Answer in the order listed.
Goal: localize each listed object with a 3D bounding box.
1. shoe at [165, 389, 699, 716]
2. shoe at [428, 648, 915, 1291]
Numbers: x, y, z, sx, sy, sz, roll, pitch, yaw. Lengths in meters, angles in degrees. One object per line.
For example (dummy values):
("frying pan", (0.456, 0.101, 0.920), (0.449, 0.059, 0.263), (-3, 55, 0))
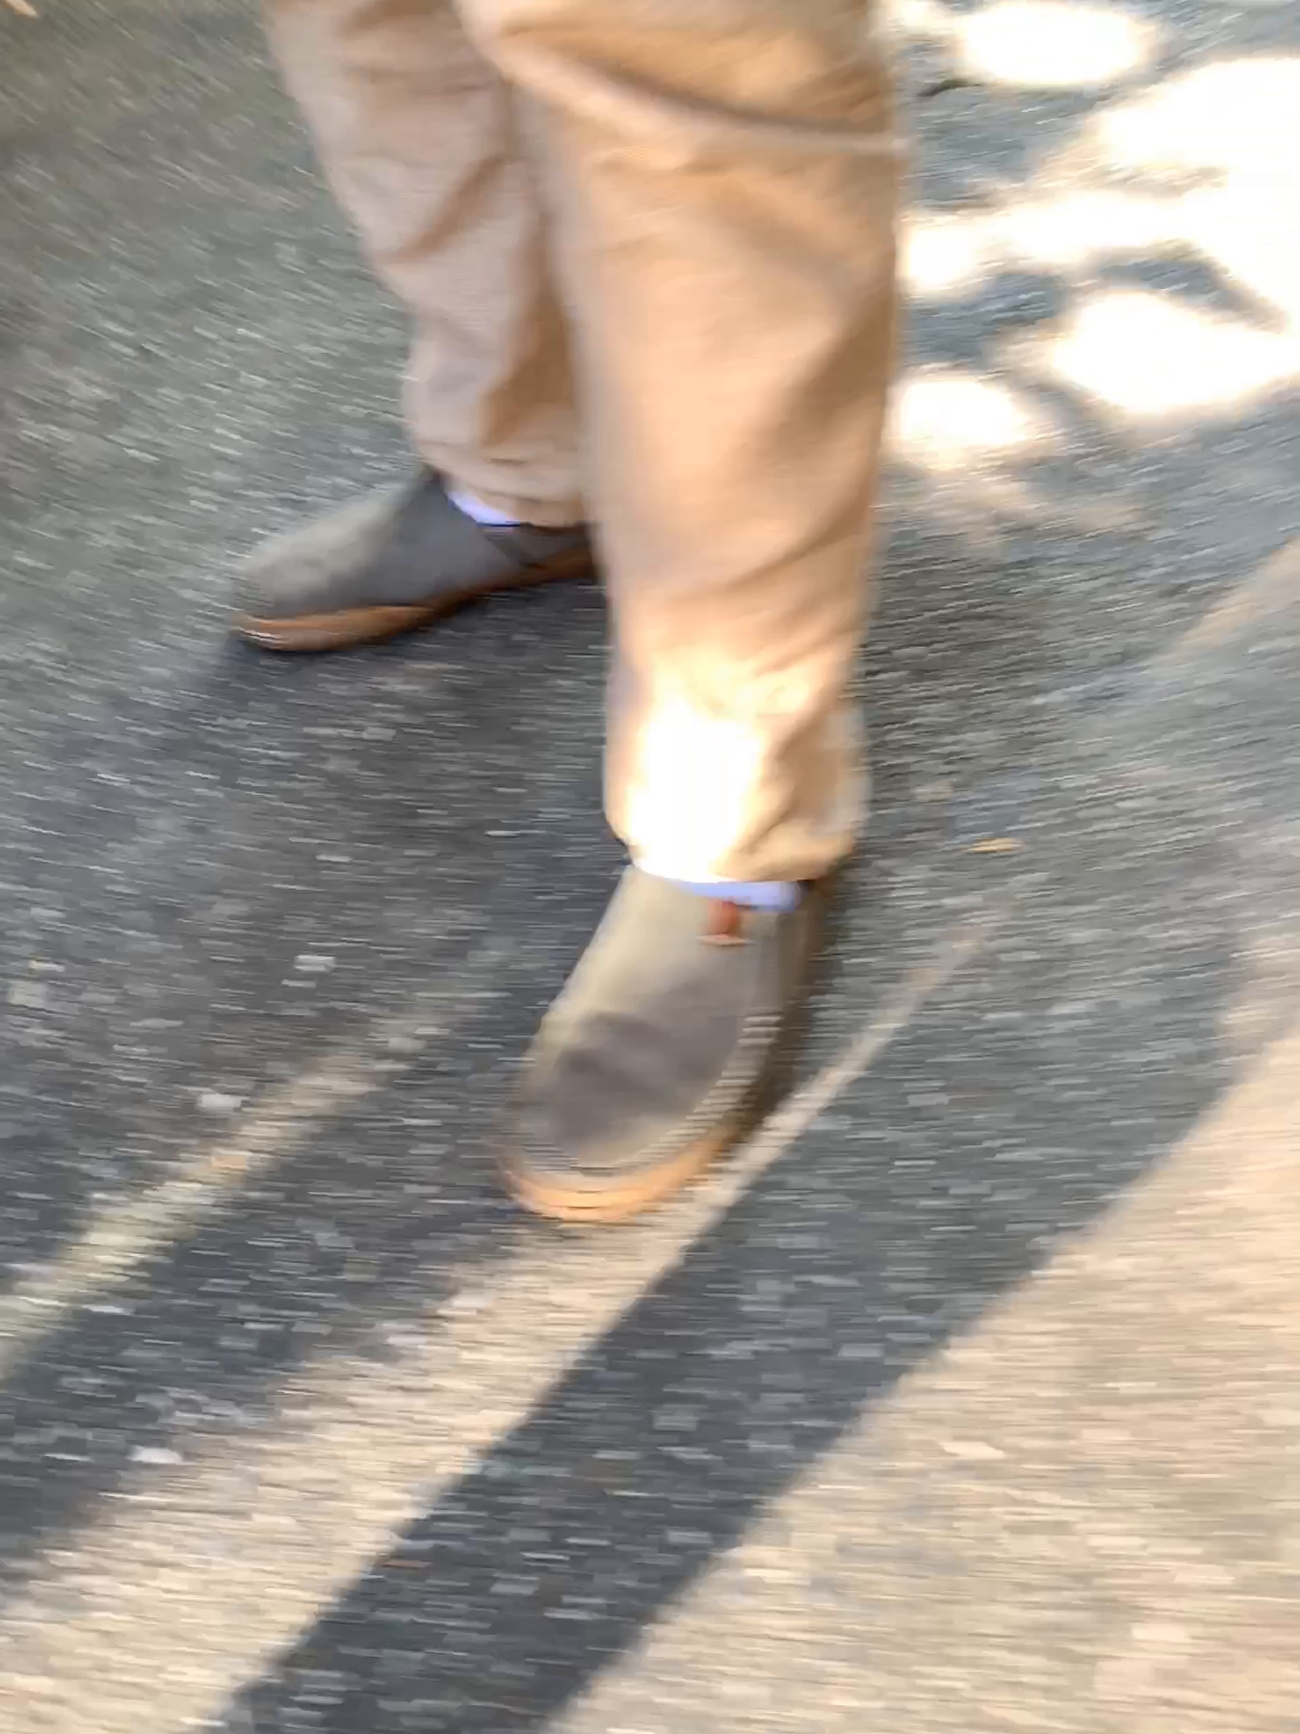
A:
("shoe", (-0.138, -0.212, 0.875), (0.320, 0.060, 0.121), (-22, 54, -13))
("shoe", (0.025, 0.036, 0.687), (0.120, 0.080, 0.321), (19, 56, 17))
